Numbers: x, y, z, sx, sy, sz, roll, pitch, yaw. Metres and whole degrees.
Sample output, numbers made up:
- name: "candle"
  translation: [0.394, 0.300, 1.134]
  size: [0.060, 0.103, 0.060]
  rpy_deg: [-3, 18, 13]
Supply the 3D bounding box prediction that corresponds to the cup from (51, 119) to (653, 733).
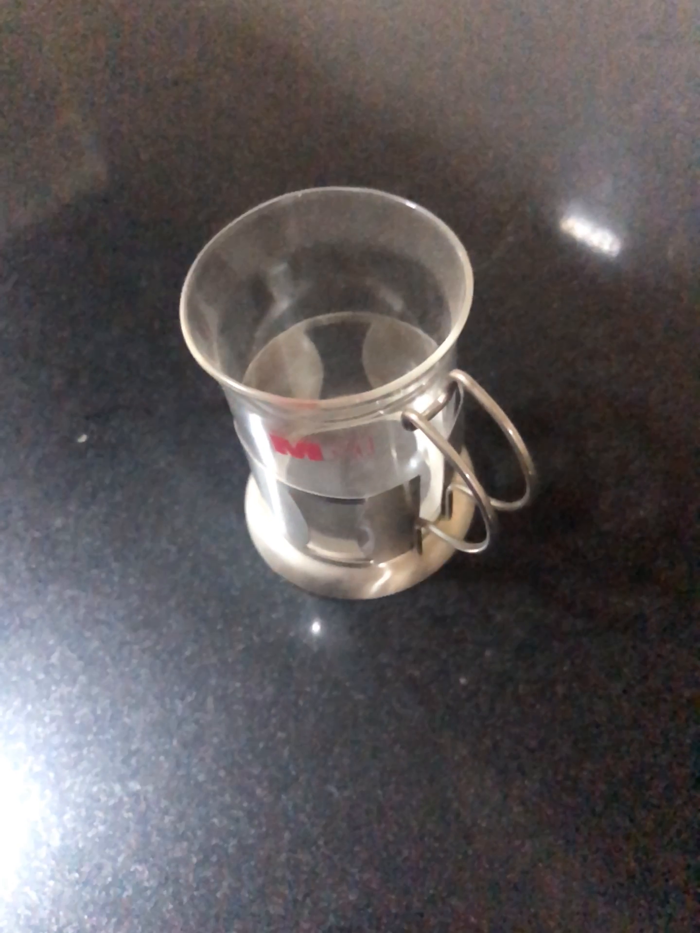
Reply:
- name: "cup"
  translation: [0.001, -0.007, 0.221]
  size: [0.080, 0.109, 0.110]
  rpy_deg: [-41, 63, -17]
